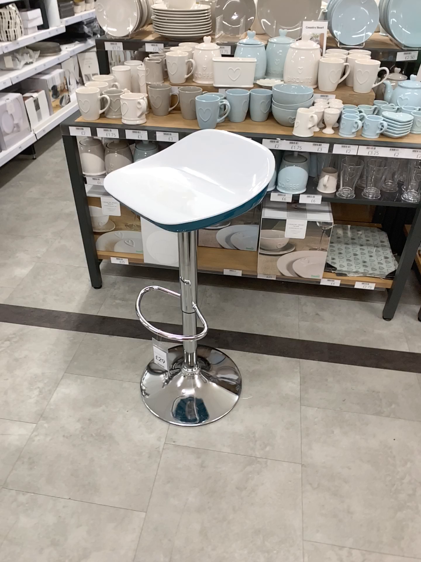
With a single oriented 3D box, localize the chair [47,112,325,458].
[{"bbox_3d":[-0.069,-0.007,1.292,0.471,0.775,0.505,-30,47,-35],"label":"chair"}]
